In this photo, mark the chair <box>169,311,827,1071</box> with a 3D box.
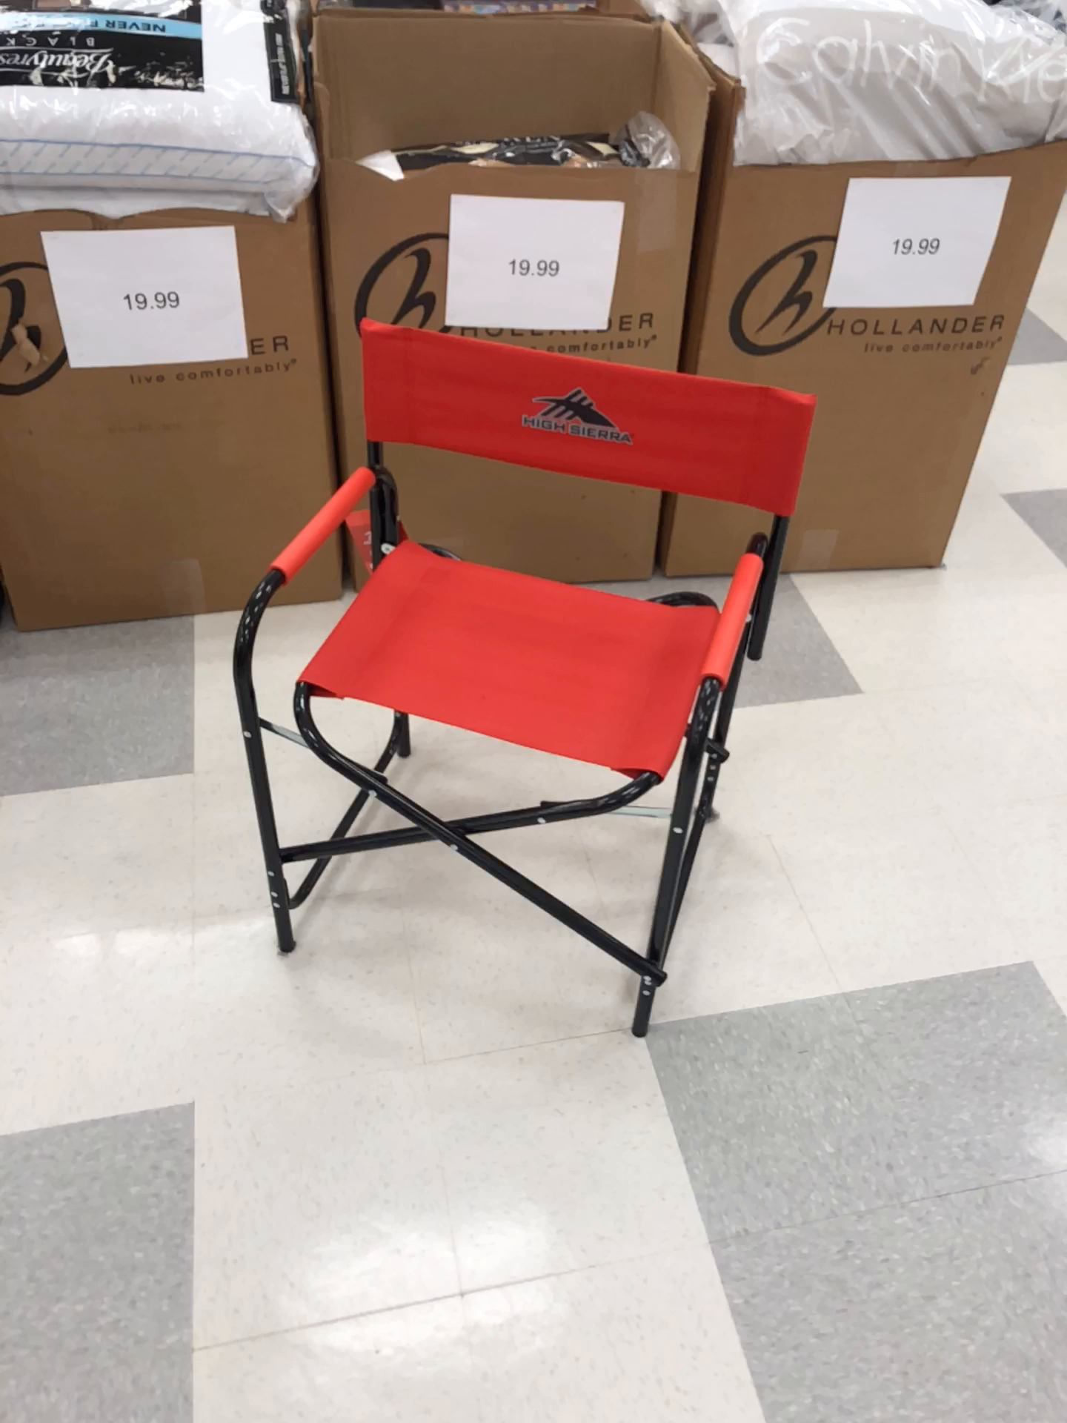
[{"bbox_3d":[-0.017,-0.022,1.517,0.592,0.729,0.491,13,43,11],"label":"chair"}]
